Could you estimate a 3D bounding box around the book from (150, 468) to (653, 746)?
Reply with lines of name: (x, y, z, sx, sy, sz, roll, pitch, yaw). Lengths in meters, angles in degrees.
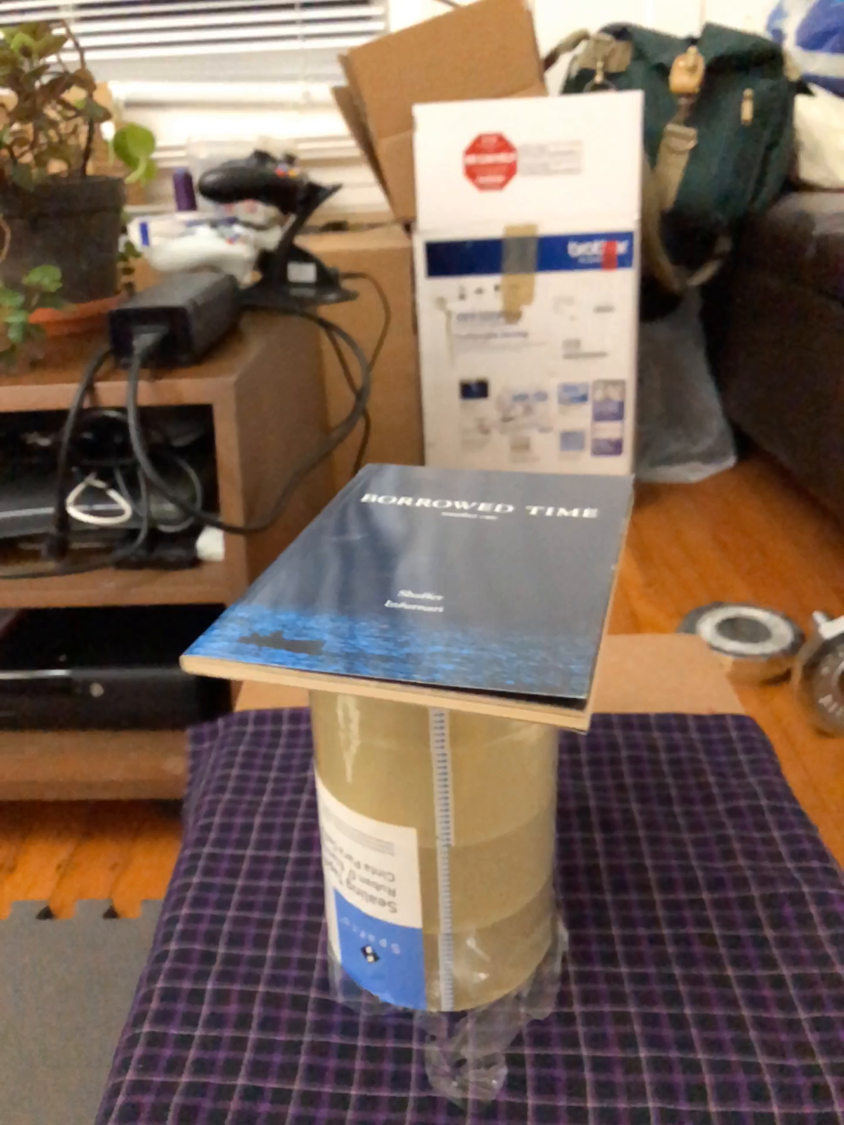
book: (0.013, 0.002, 0.412, 0.160, 0.010, 0.231, 5, 24, 15)
